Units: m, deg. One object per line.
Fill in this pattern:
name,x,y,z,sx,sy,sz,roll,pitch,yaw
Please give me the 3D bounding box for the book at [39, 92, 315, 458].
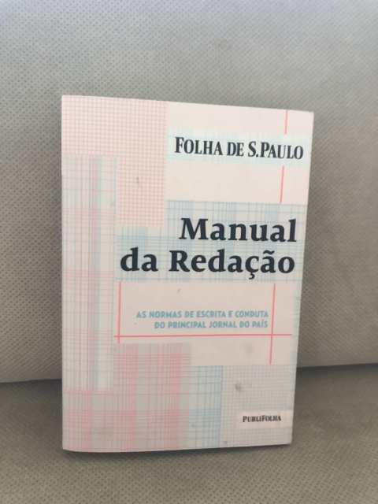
book,-0.008,0.017,0.287,0.166,0.228,0.040,0,6,-4
